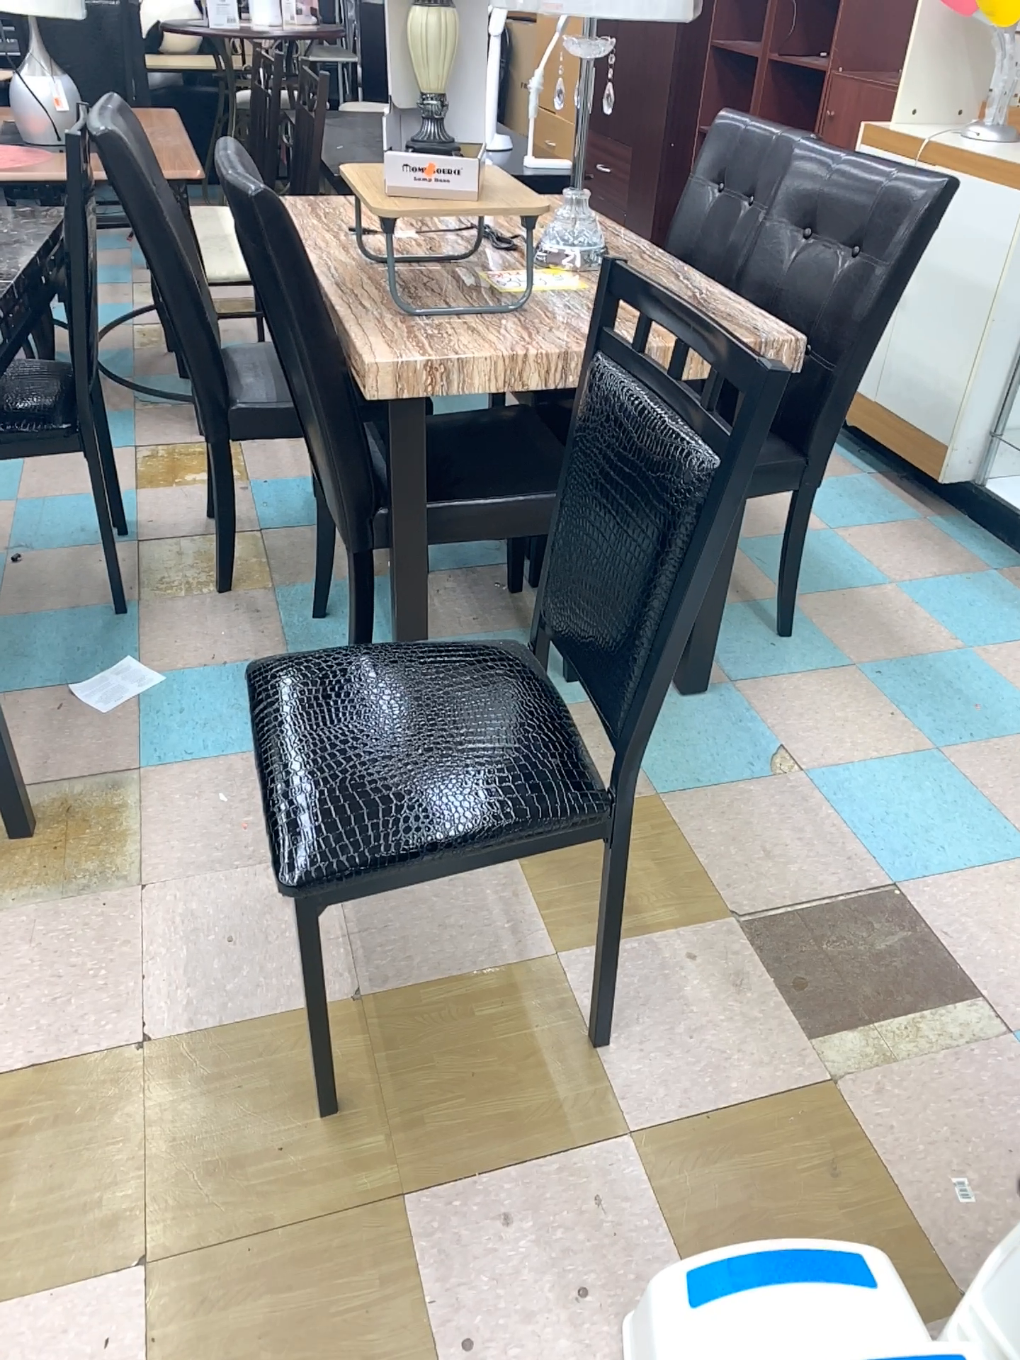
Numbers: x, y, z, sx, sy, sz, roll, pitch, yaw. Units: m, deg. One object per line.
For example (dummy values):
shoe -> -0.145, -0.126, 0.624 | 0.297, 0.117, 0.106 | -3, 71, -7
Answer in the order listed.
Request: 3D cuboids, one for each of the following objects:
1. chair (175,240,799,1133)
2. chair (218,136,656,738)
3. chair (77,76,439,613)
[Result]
chair -> -0.074, 0.021, 1.270 | 0.504, 0.943, 0.463 | -8, 36, -14
chair -> -0.159, -0.466, 1.948 | 0.594, 0.923, 0.534 | -10, 37, -16
chair -> -0.575, -0.810, 2.496 | 0.675, 1.072, 0.564 | -10, 37, -16
